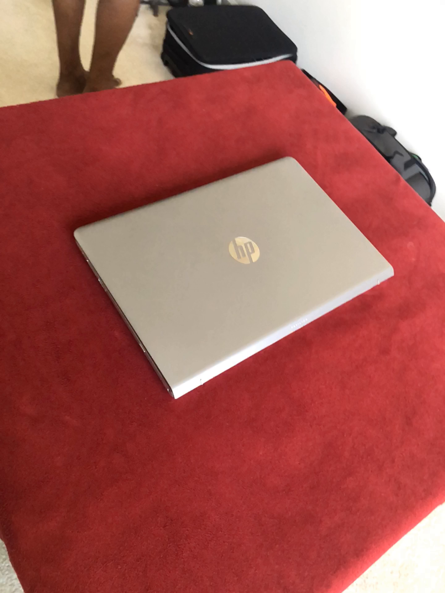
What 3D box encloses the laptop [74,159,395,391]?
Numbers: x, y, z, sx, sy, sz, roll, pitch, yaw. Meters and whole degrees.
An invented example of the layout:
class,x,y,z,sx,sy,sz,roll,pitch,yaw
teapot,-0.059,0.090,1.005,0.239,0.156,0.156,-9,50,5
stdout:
class,x,y,z,sx,sy,sz,roll,pitch,yaw
laptop,0.029,-0.058,0.654,0.372,0.006,0.234,-25,66,-28
